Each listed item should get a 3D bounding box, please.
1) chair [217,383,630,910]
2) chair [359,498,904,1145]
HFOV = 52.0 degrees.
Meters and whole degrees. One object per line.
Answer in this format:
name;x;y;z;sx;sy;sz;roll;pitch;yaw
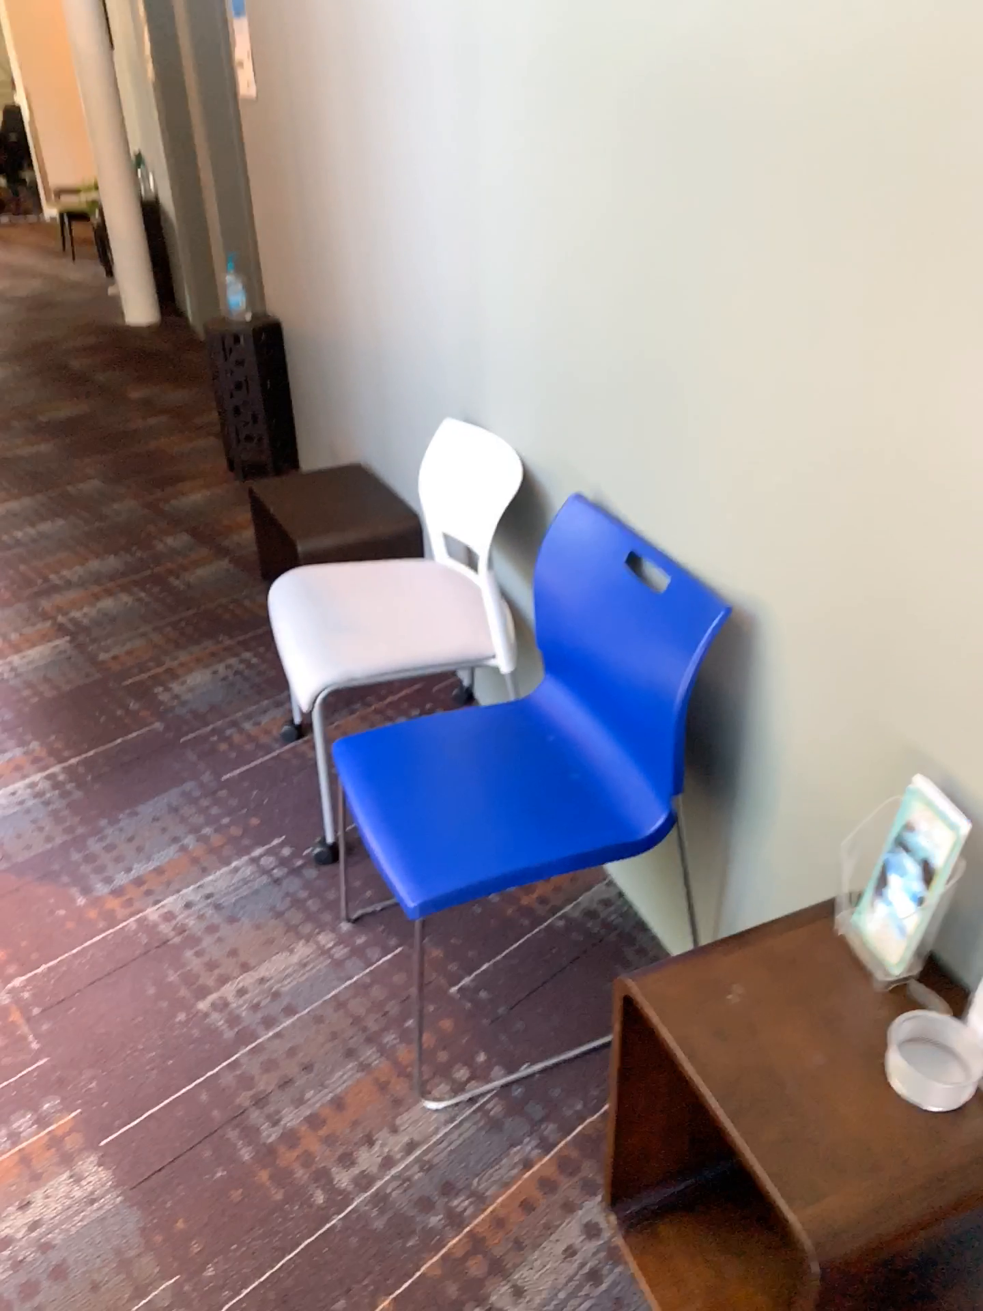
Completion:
chair;-0.160;-0.046;2.113;0.560;0.795;0.593;-17;40;-26
chair;0.155;0.234;1.726;0.620;0.796;0.593;-8;31;-21
